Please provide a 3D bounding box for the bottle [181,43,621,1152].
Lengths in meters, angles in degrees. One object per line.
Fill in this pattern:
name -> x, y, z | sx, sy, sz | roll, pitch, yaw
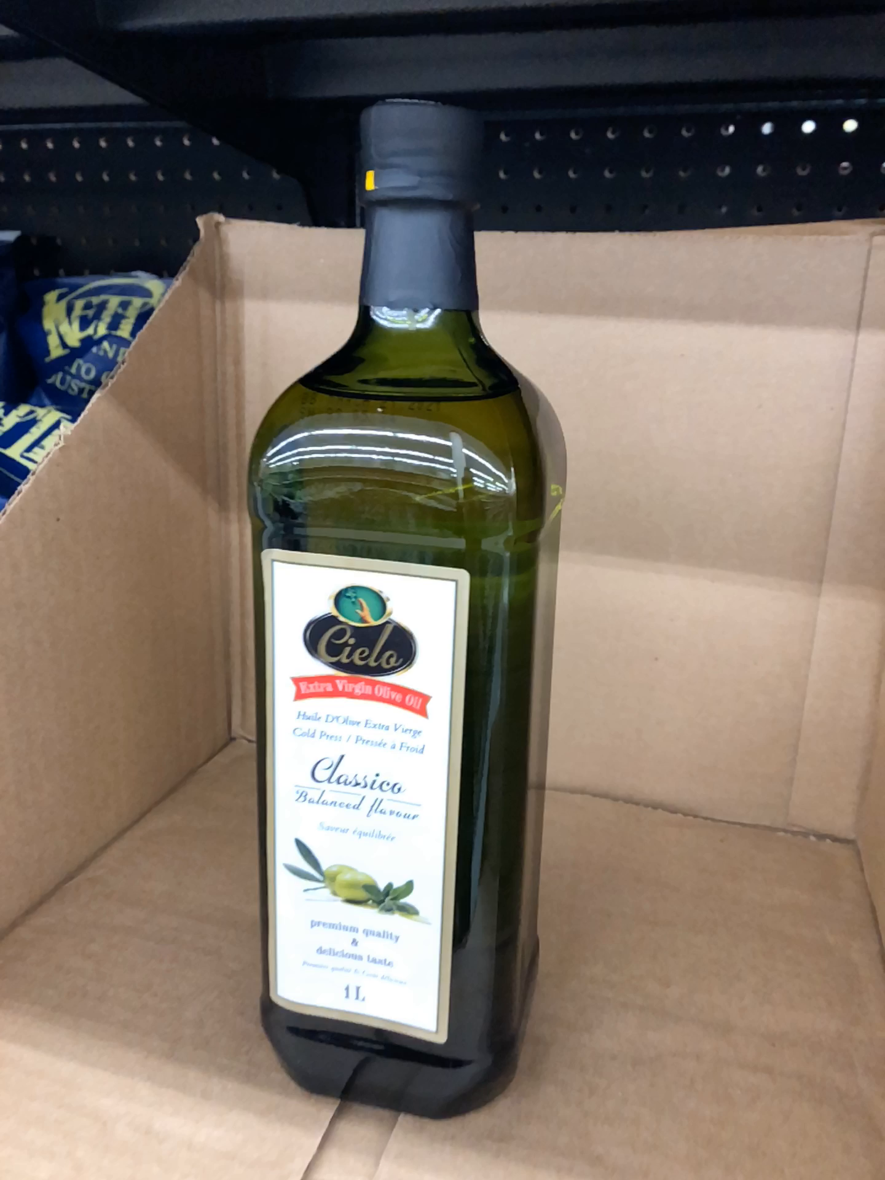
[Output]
bottle -> -0.006, 0.010, 0.290 | 0.090, 0.288, 0.080 | 6, 18, 15
